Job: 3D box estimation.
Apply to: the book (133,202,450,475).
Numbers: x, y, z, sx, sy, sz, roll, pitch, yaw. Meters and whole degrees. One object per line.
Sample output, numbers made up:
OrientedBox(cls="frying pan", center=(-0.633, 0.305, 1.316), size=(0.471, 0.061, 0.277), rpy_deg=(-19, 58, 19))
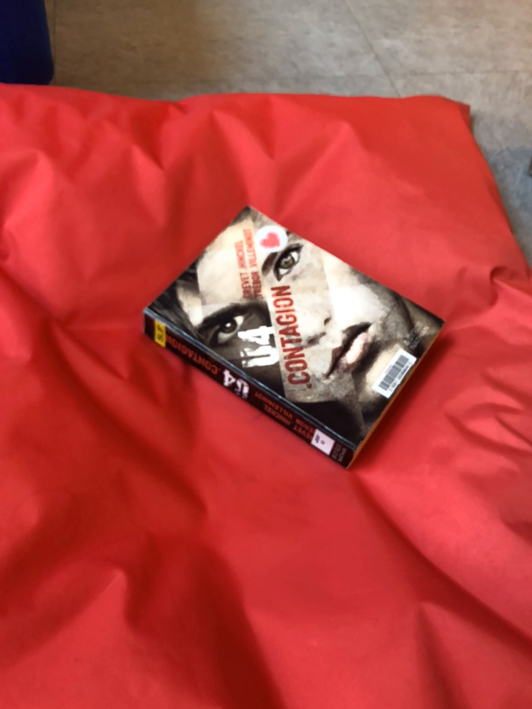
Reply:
OrientedBox(cls="book", center=(0.023, -0.026, 0.536), size=(0.225, 0.038, 0.167), rpy_deg=(32, 65, 17))
